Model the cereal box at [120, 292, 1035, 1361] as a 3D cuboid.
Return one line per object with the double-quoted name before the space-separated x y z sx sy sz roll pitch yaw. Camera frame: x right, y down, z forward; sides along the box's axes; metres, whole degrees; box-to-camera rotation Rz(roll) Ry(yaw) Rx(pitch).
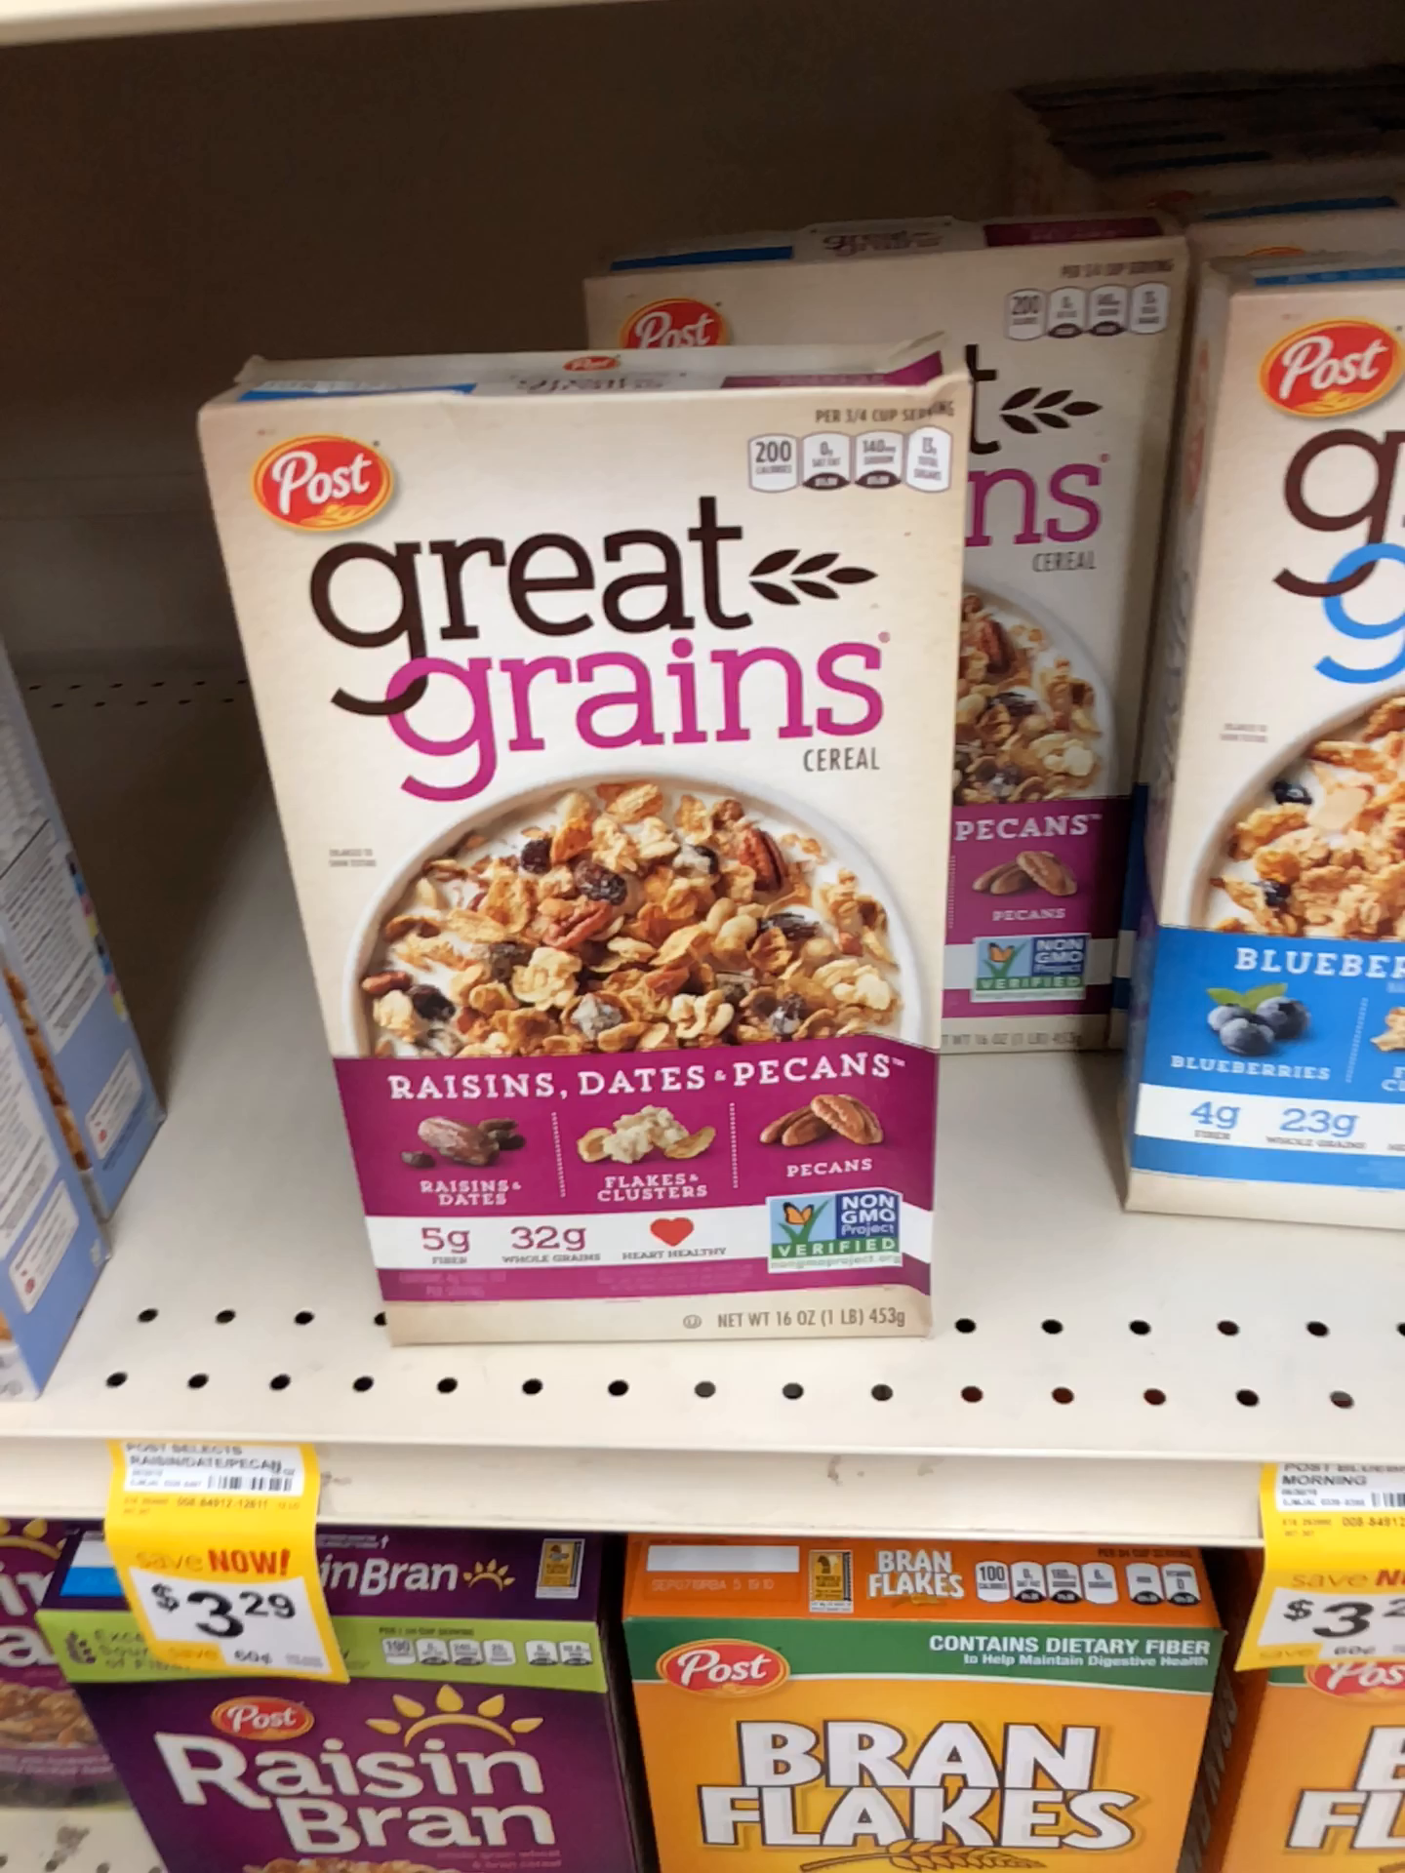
"cereal box" -0.017 -0.007 0.382 0.170 0.269 0.050 -2 34 3
